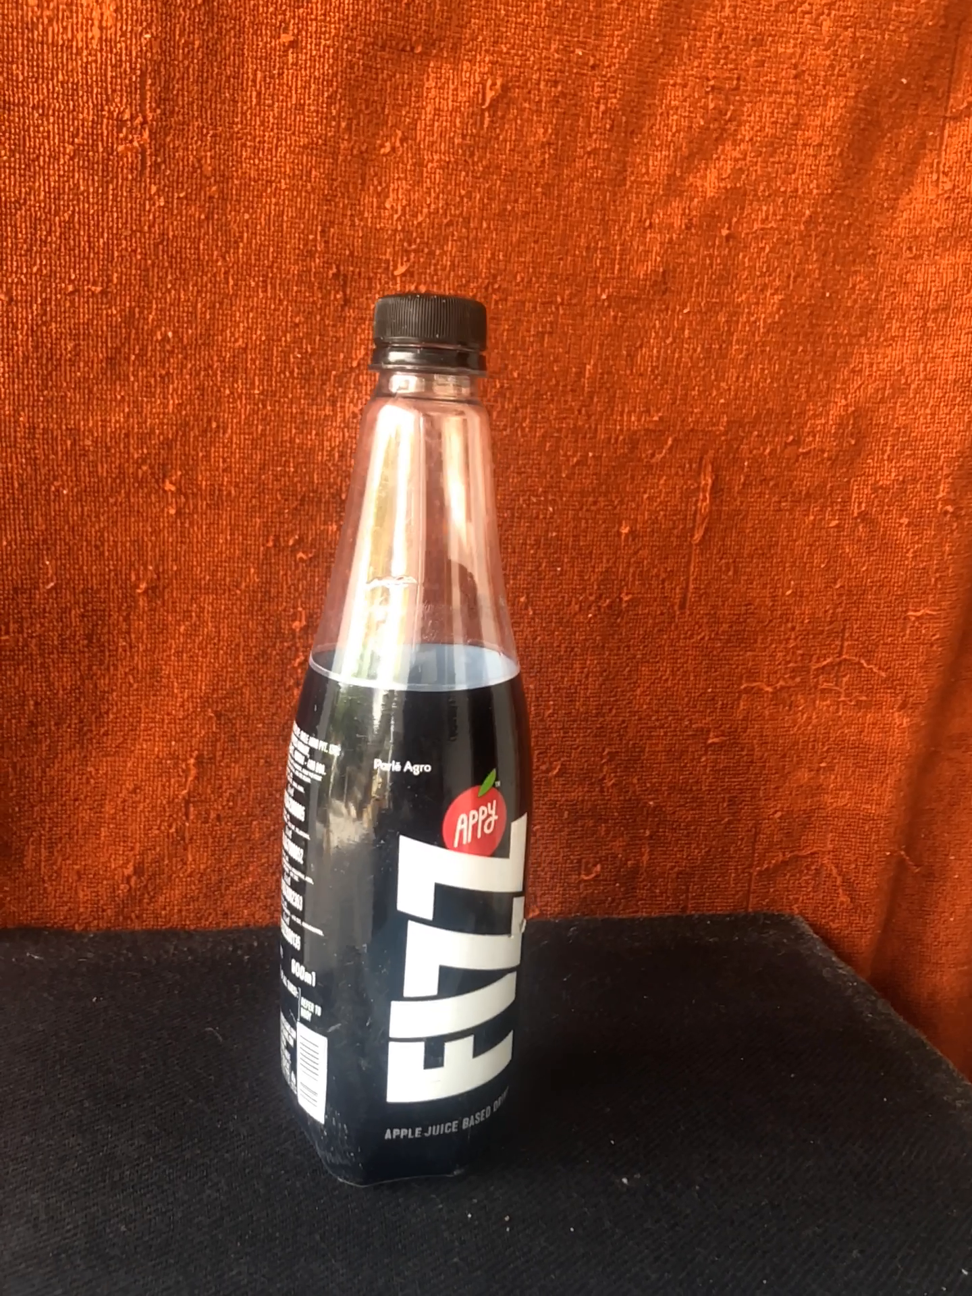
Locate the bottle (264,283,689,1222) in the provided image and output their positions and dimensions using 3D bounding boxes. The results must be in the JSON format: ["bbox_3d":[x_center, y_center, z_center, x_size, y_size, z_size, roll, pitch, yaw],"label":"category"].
[{"bbox_3d":[-0.008,0.024,0.283,0.070,0.219,0.060,-4,16,-35],"label":"bottle"}]
